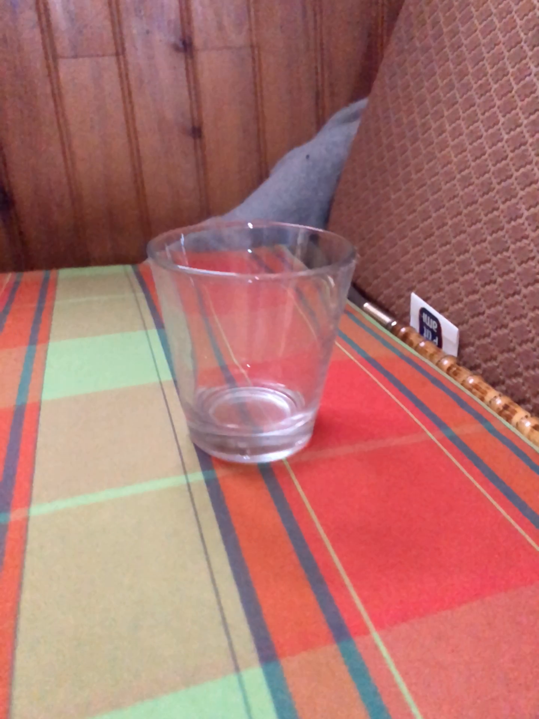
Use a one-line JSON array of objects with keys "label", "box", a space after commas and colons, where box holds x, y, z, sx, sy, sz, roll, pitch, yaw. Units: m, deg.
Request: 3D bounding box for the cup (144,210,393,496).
[{"label": "cup", "box": [-0.006, -0.009, 0.254, 0.080, 0.090, 0.080, 1, 24, 0]}]
